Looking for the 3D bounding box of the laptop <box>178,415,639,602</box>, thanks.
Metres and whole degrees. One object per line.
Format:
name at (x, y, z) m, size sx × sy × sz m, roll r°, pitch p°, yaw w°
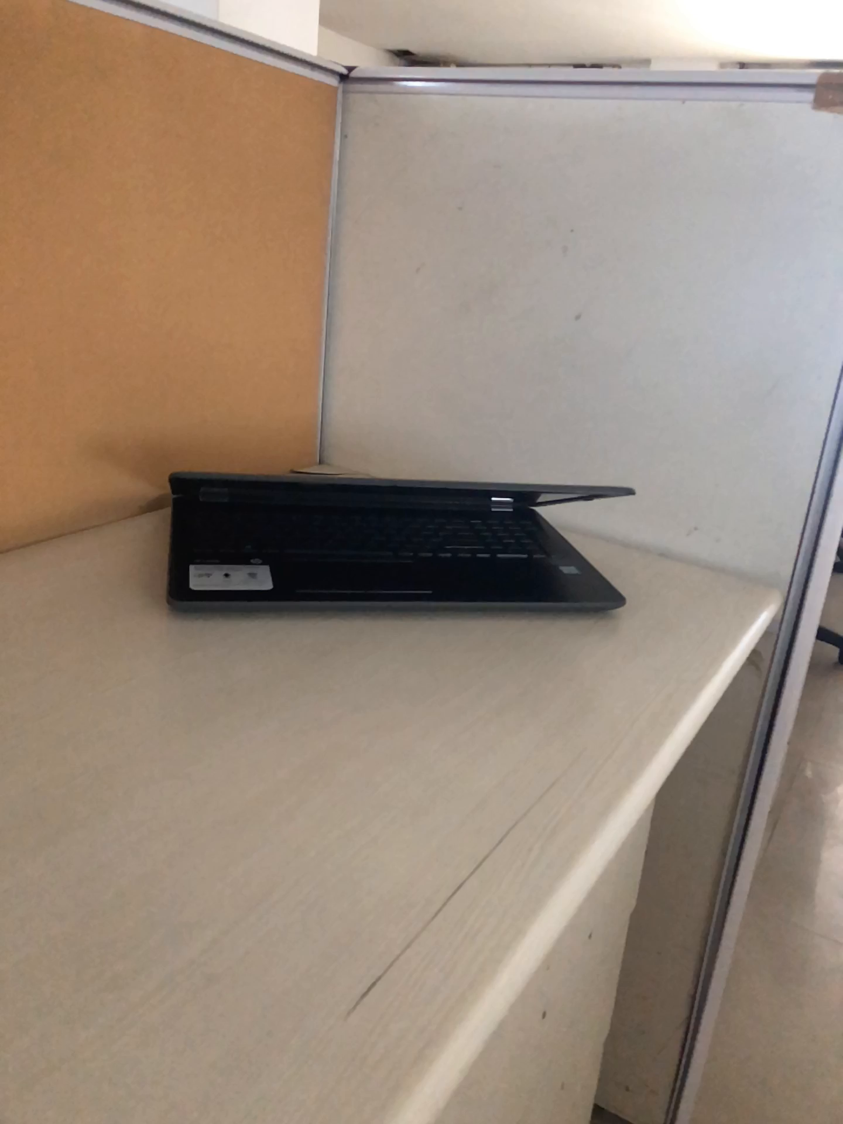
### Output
laptop at (-0.030, -0.053, 0.823) m, size 0.362 × 0.074 × 0.239 m, roll 1°, pitch 23°, yaw -14°
